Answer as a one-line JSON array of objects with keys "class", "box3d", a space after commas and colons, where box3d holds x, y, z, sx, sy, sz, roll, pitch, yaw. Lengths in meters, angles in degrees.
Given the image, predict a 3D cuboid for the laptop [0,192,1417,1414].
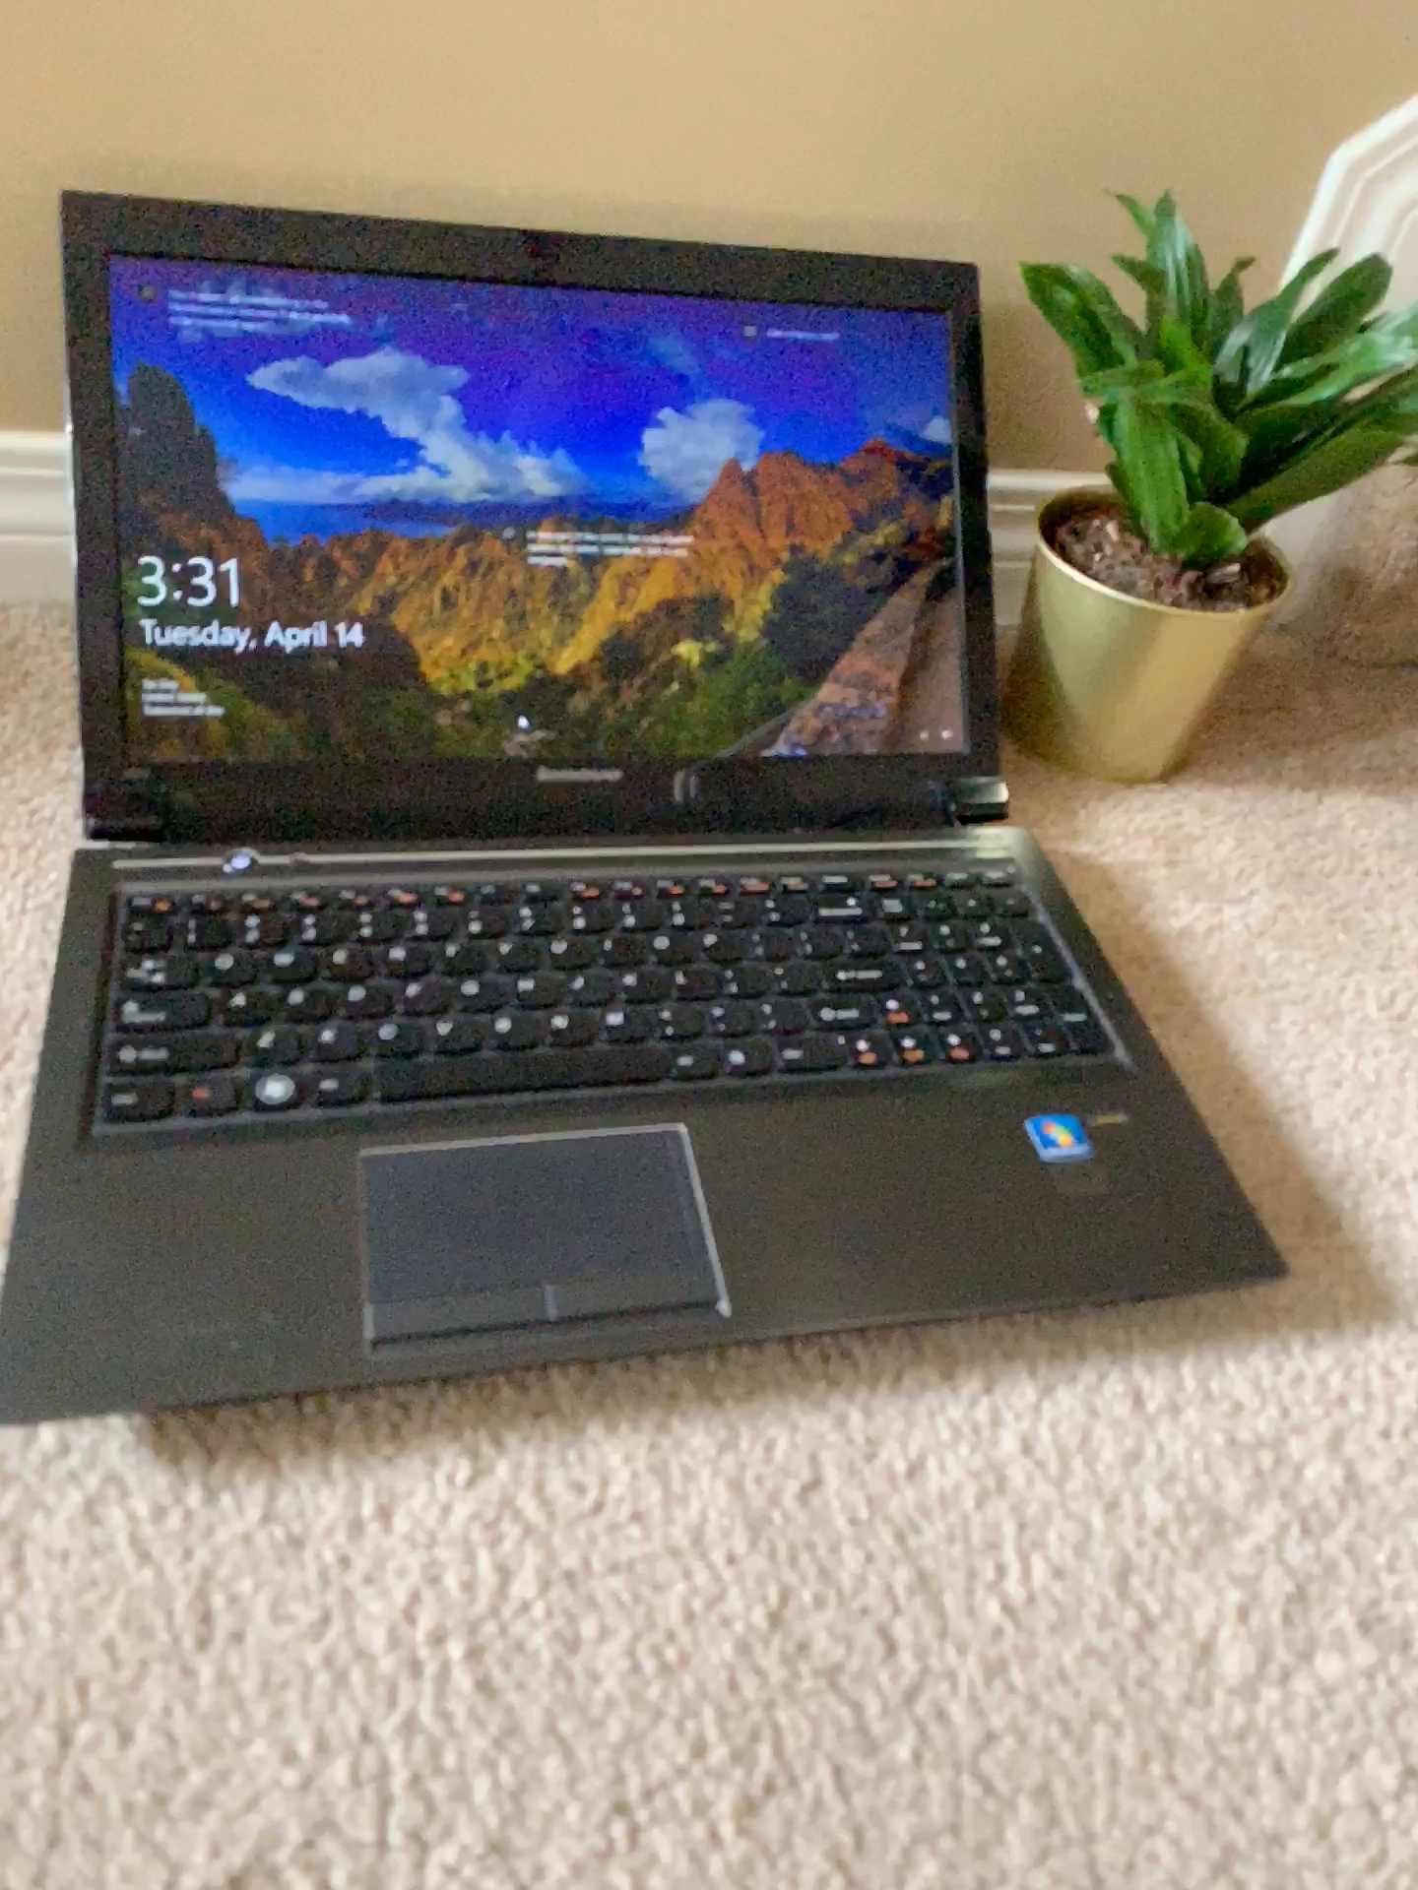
[{"class": "laptop", "box3d": [-0.034, -0.089, 0.495, 0.372, 0.166, 0.412, -2, 43, -15]}]
